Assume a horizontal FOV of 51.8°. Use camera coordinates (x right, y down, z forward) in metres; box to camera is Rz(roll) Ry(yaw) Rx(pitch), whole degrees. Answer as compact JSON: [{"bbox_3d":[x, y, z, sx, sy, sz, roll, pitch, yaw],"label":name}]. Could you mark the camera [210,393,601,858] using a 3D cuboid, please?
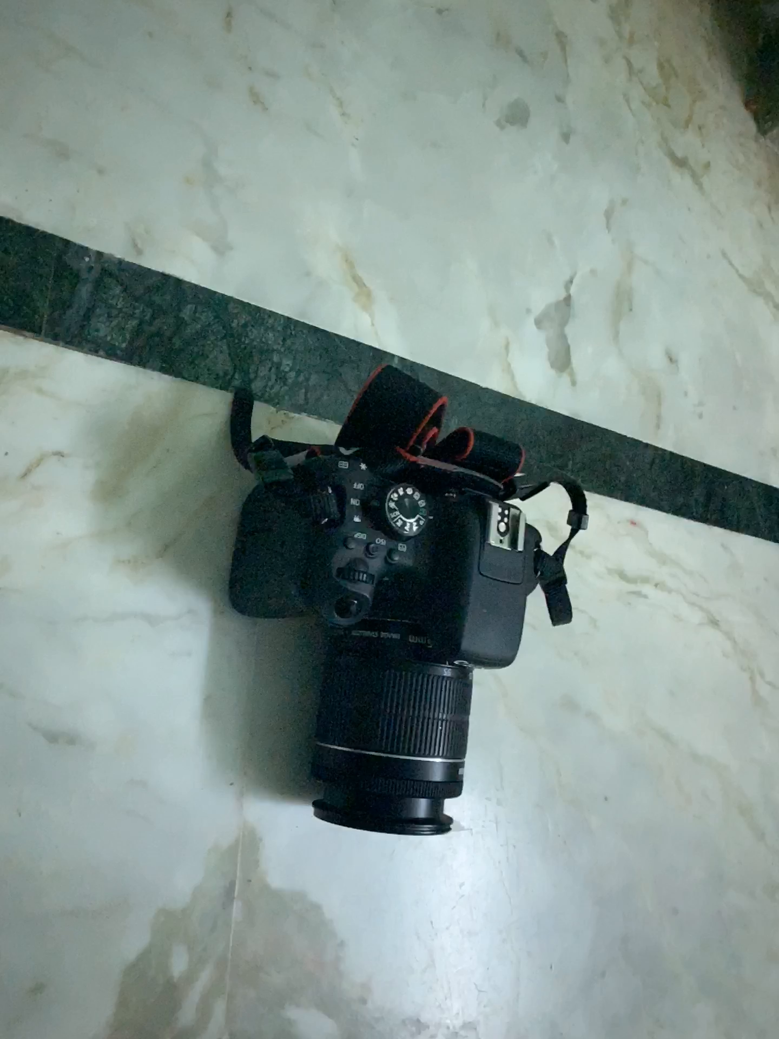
[{"bbox_3d":[0.011,0.051,0.351,0.128,0.100,0.160,14,73,-34],"label":"camera"}]
